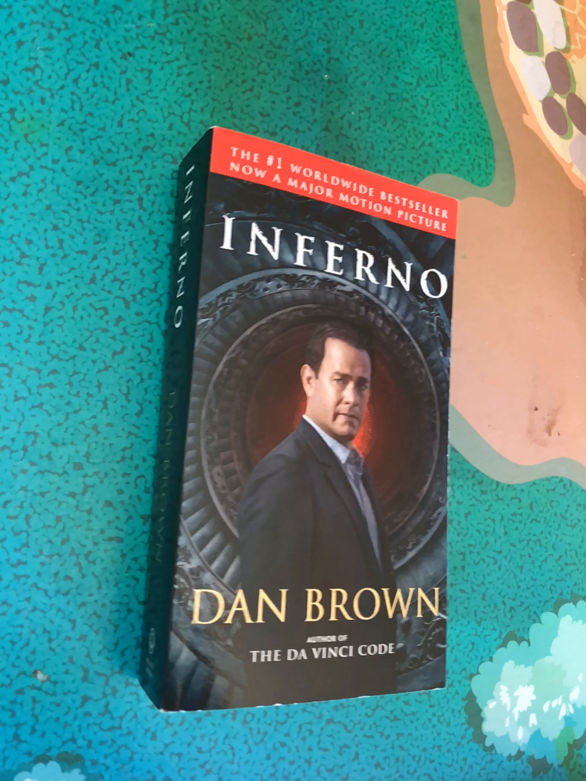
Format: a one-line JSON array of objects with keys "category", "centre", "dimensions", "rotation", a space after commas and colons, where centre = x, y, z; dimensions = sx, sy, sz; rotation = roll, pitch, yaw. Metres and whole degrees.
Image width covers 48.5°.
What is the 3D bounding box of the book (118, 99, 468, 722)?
[{"category": "book", "centre": [0.004, 0.009, 0.259], "dimensions": [0.110, 0.060, 0.200], "rotation": [8, 80, -27]}]
